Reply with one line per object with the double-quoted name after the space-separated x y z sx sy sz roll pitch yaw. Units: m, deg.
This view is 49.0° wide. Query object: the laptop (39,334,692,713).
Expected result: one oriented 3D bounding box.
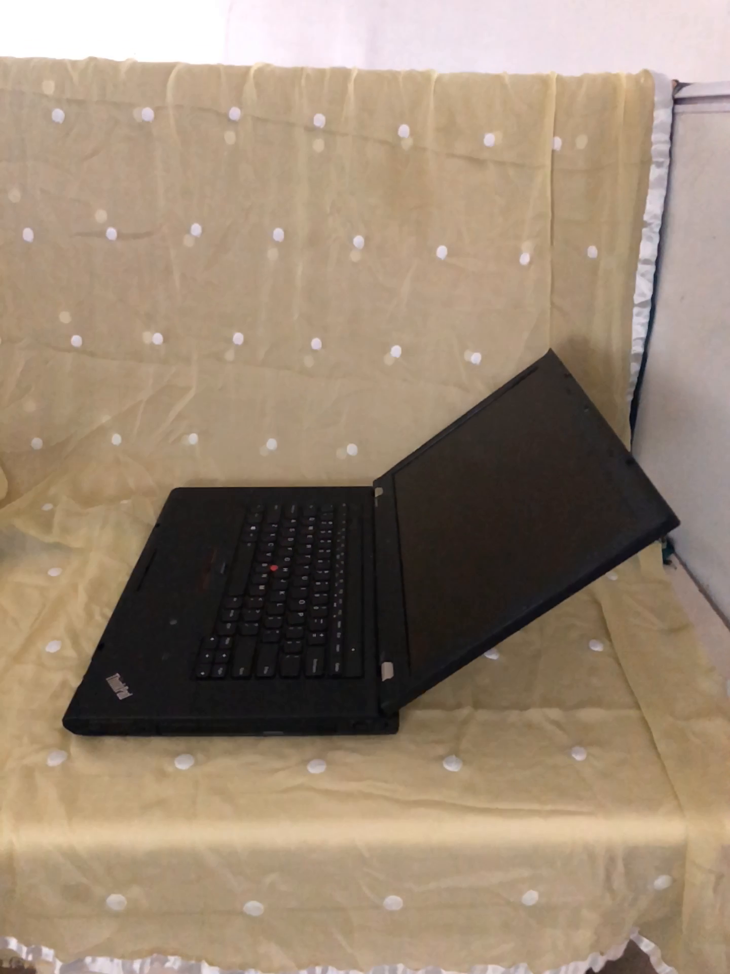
-0.005 0.004 0.706 0.424 0.156 0.349 -3 26 1 "laptop"
